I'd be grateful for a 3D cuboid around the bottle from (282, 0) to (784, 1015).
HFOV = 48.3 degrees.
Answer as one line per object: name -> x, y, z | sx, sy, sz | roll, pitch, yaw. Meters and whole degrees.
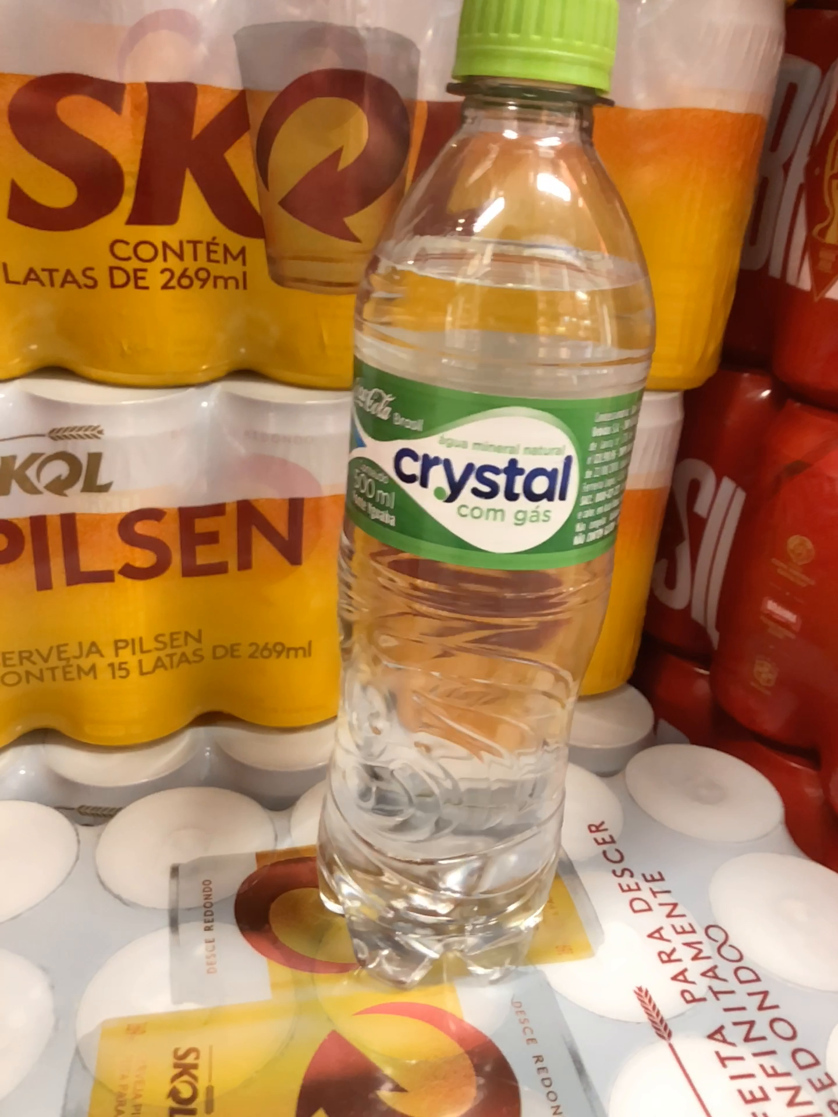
bottle -> 0.012, -0.003, 0.208 | 0.070, 0.218, 0.060 | 6, 27, 4
